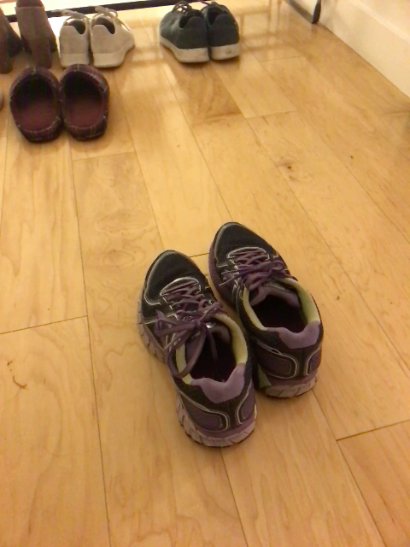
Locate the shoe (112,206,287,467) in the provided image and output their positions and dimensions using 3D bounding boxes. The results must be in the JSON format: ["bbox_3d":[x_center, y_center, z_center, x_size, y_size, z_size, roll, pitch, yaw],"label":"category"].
[{"bbox_3d":[-0.022,0.056,0.537,0.110,0.099,0.292,-15,48,-13],"label":"shoe"}]

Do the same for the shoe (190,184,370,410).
[{"bbox_3d":[0.075,0.011,0.574,0.120,0.079,0.292,-12,48,-10],"label":"shoe"}]
